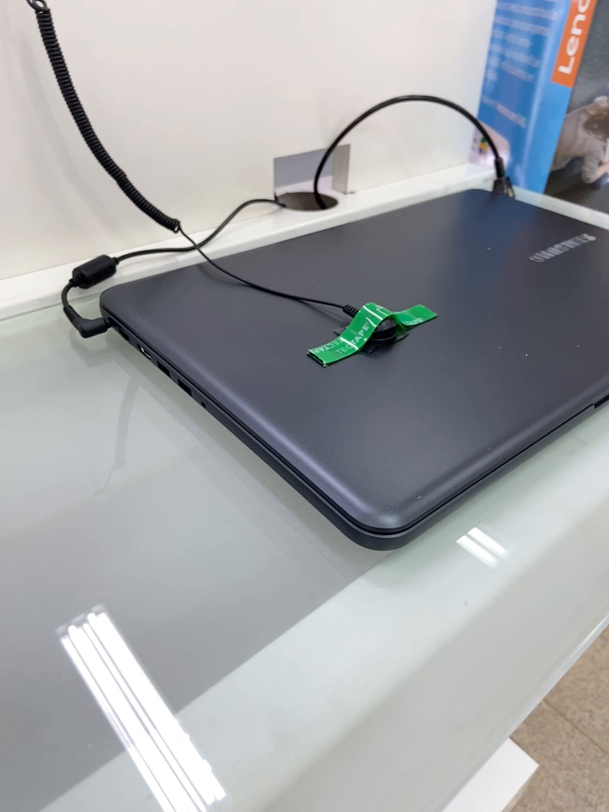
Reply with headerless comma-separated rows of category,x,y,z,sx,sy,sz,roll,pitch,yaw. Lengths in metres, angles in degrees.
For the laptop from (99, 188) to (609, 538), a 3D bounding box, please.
laptop,0.088,-0.073,0.393,0.352,0.001,0.233,-25,45,-33
